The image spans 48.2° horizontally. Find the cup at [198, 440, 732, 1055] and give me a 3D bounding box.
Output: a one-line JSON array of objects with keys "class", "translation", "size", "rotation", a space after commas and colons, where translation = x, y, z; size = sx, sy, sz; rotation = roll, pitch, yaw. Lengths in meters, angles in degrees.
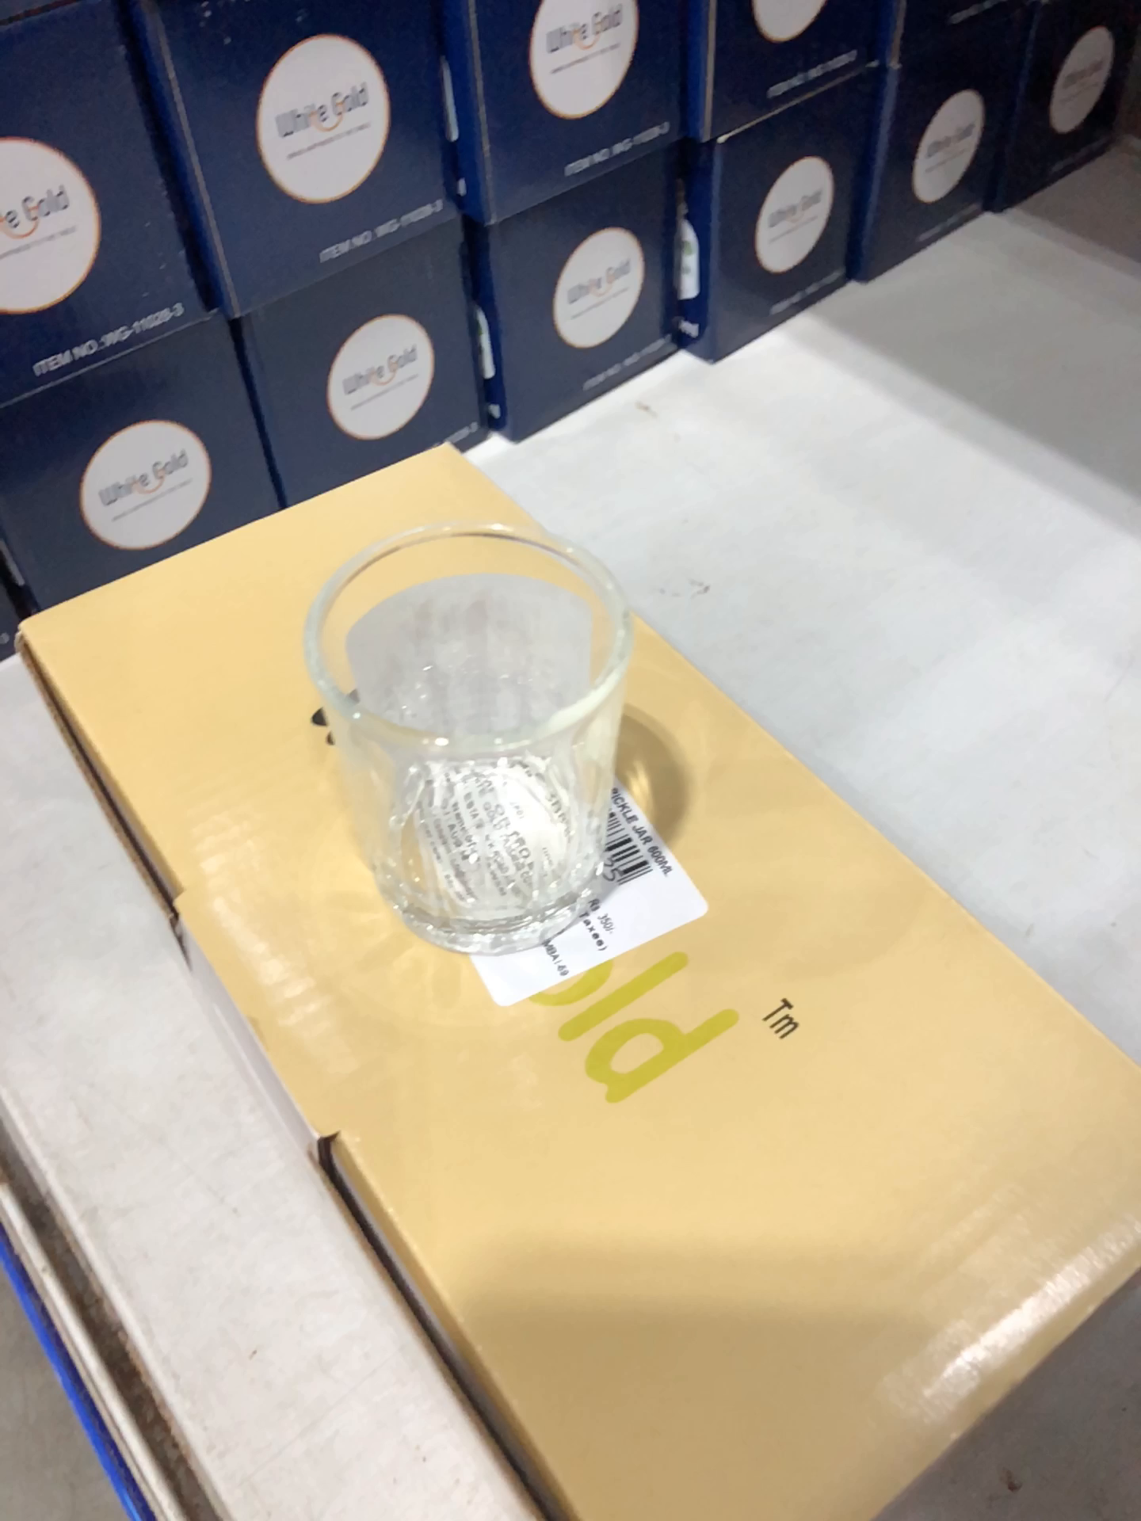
[{"class": "cup", "translation": [-0.012, -0.002, 0.191], "size": [0.050, 0.060, 0.050], "rotation": [-2, 50, 2]}]
